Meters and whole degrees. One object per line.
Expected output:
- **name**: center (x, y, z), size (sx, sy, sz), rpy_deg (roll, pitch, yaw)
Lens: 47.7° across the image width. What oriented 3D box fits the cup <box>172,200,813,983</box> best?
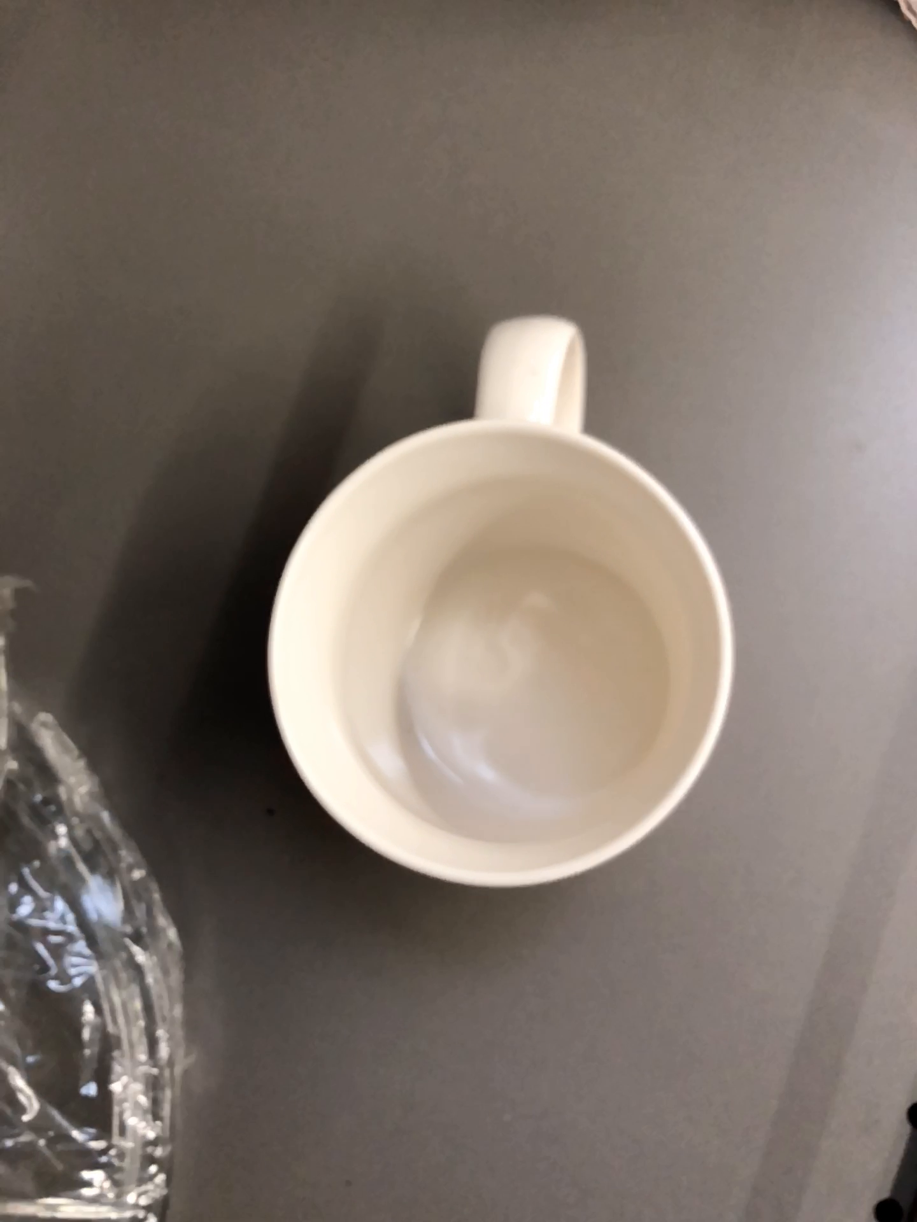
- **cup**: center (0.012, -0.004, 0.228), size (0.090, 0.078, 0.128), rpy_deg (13, 84, 10)
